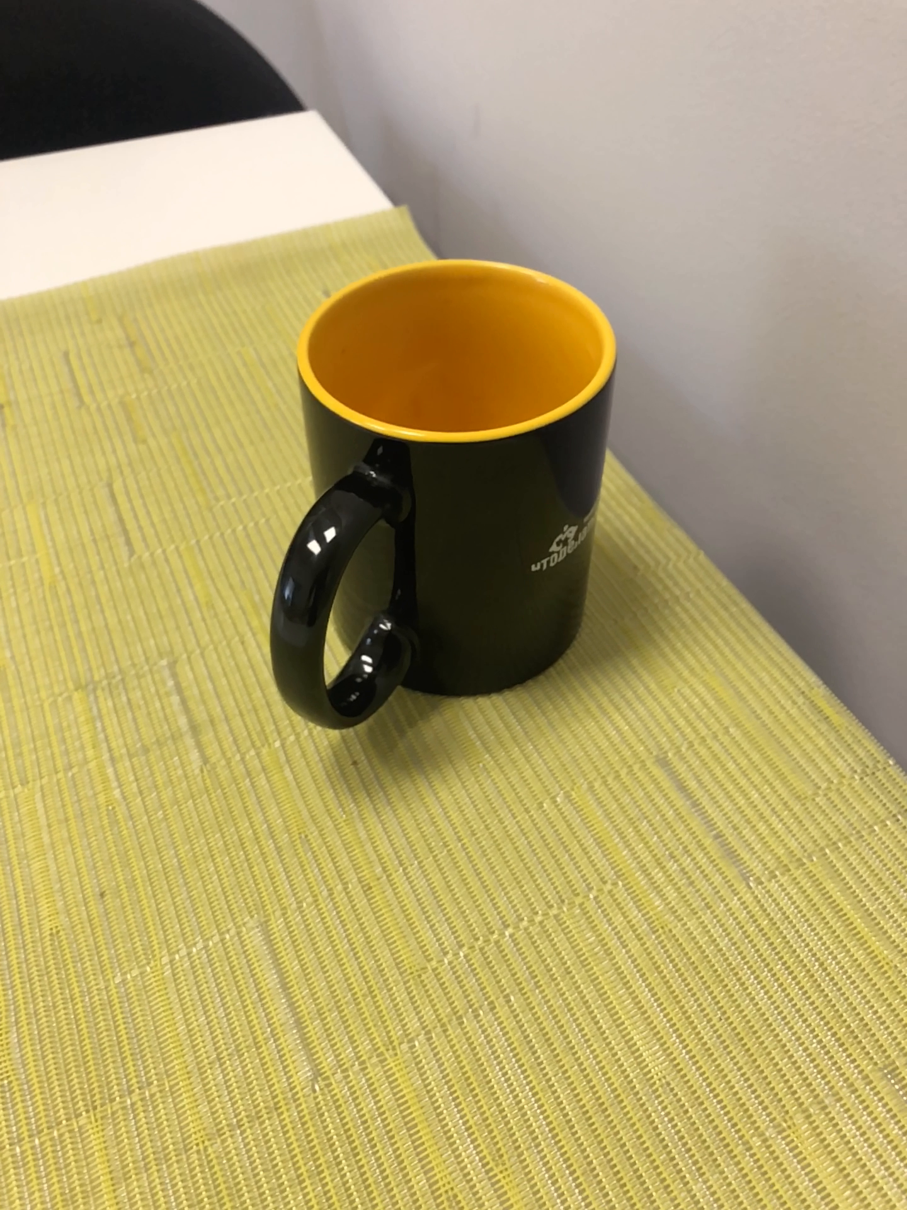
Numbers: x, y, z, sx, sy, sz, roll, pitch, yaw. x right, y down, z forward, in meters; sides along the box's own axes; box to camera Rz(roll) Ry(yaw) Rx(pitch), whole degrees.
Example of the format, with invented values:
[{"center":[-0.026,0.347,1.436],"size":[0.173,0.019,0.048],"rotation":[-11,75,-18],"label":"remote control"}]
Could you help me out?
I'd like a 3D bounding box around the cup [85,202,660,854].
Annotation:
[{"center":[-0.012,-0.024,0.274],"size":[0.088,0.104,0.119],"rotation":[18,50,16],"label":"cup"}]
